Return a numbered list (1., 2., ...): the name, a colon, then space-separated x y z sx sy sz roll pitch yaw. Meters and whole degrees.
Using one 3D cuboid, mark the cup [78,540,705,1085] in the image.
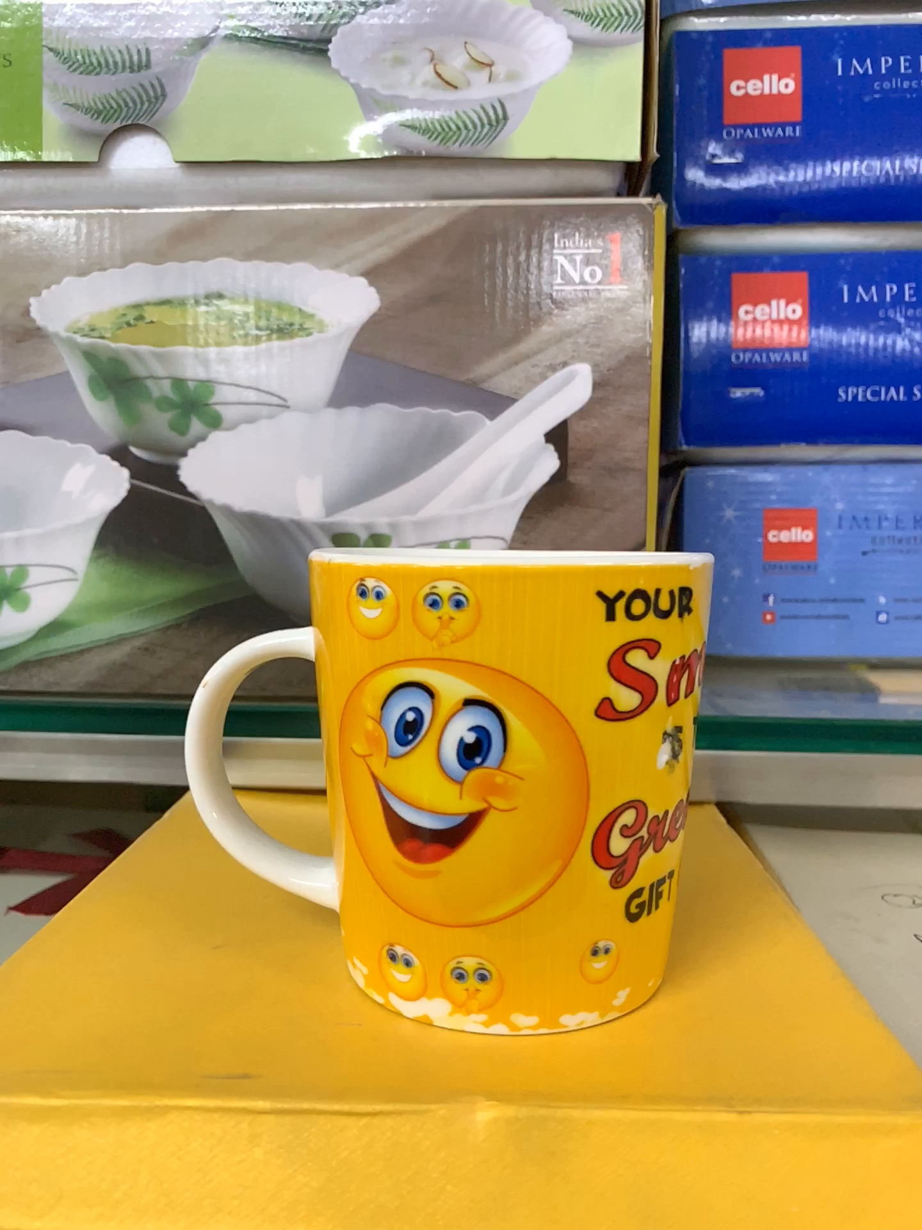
1. cup: -0.011 0.031 0.216 0.120 0.090 0.070 3 6 17
